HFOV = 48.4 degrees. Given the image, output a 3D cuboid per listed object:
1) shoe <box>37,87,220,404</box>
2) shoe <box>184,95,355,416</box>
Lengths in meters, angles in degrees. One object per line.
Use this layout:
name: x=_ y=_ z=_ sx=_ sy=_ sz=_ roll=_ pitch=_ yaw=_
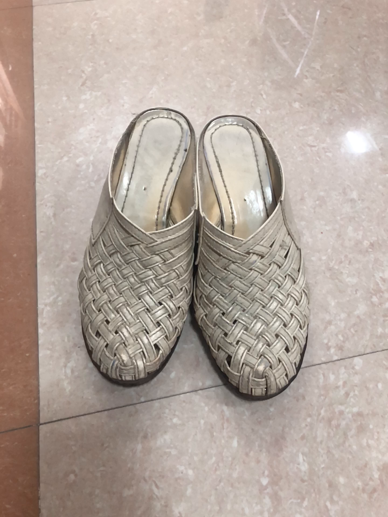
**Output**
shoe: x=-0.034 y=-0.021 z=0.344 sx=0.090 sy=0.080 sz=0.240 roll=4 pitch=60 yaw=4
shoe: x=0.044 y=-0.011 z=0.340 sx=0.090 sy=0.080 sz=0.240 roll=-4 pitch=60 yaw=2
